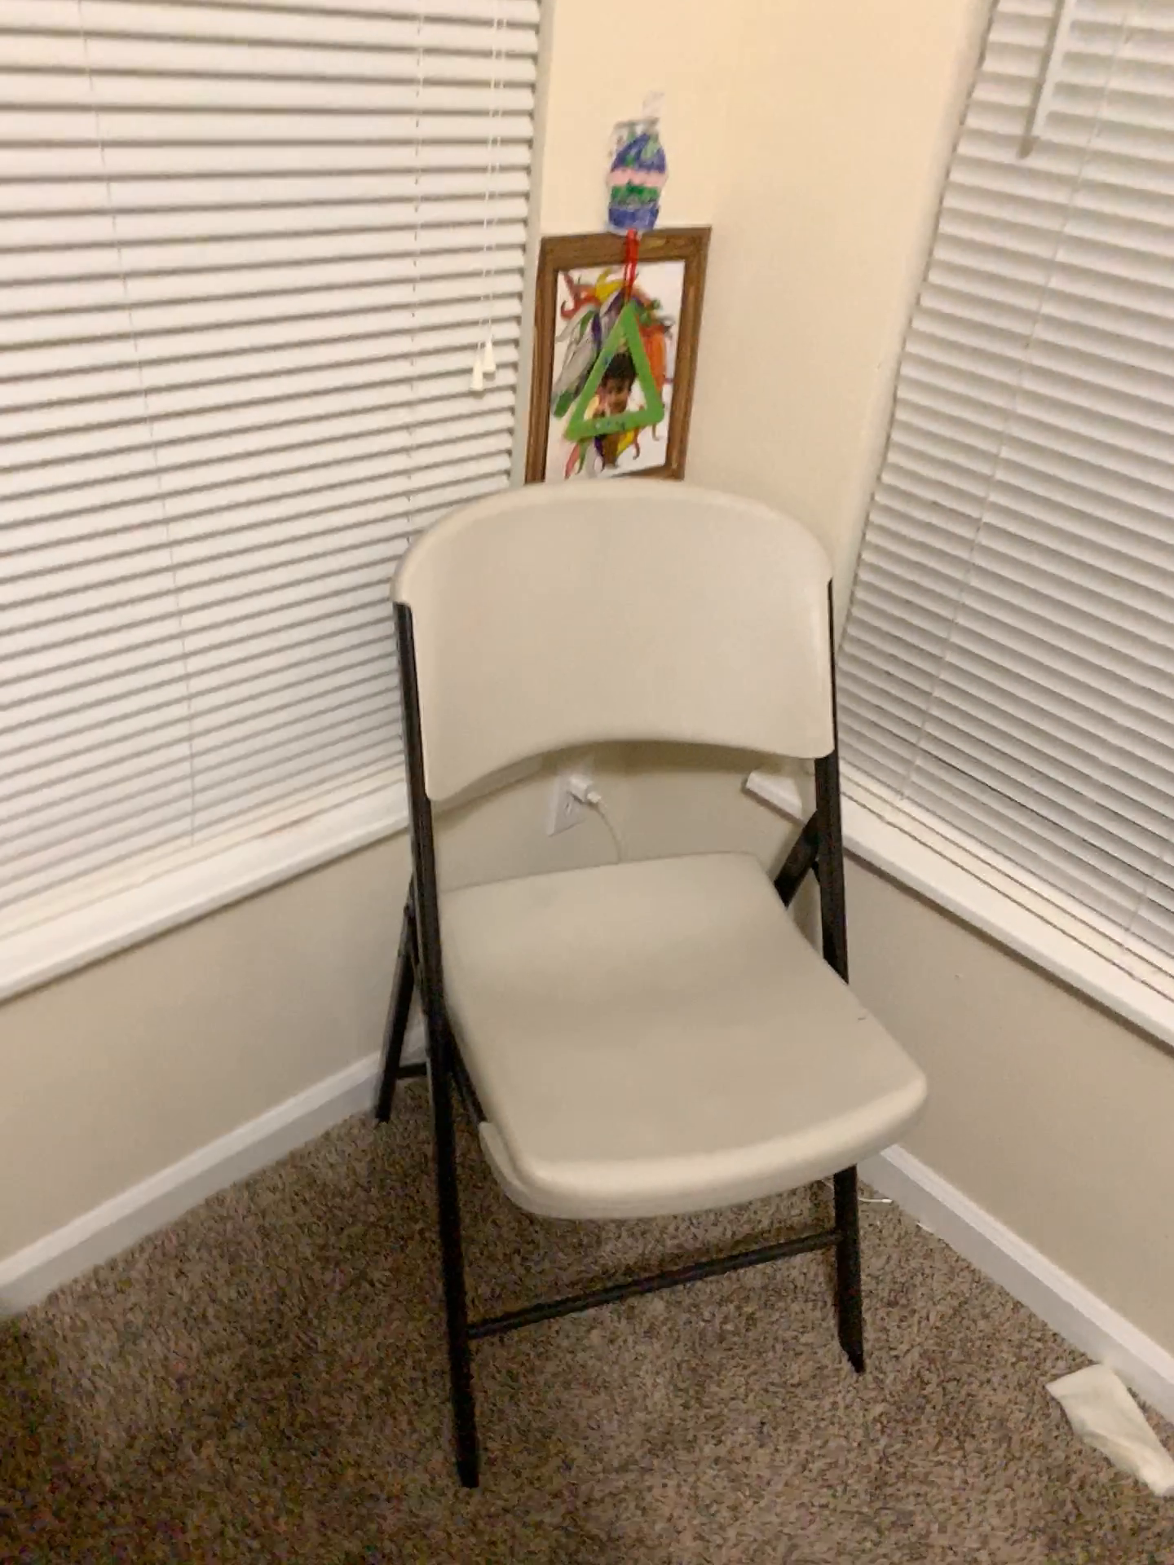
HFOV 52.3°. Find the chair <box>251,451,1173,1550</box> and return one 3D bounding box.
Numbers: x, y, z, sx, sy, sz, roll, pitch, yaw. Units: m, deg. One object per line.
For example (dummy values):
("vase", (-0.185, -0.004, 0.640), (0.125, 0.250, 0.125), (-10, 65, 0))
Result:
("chair", (0.010, 0.162, 1.261), (0.610, 0.816, 0.683), (-5, 34, -18))
